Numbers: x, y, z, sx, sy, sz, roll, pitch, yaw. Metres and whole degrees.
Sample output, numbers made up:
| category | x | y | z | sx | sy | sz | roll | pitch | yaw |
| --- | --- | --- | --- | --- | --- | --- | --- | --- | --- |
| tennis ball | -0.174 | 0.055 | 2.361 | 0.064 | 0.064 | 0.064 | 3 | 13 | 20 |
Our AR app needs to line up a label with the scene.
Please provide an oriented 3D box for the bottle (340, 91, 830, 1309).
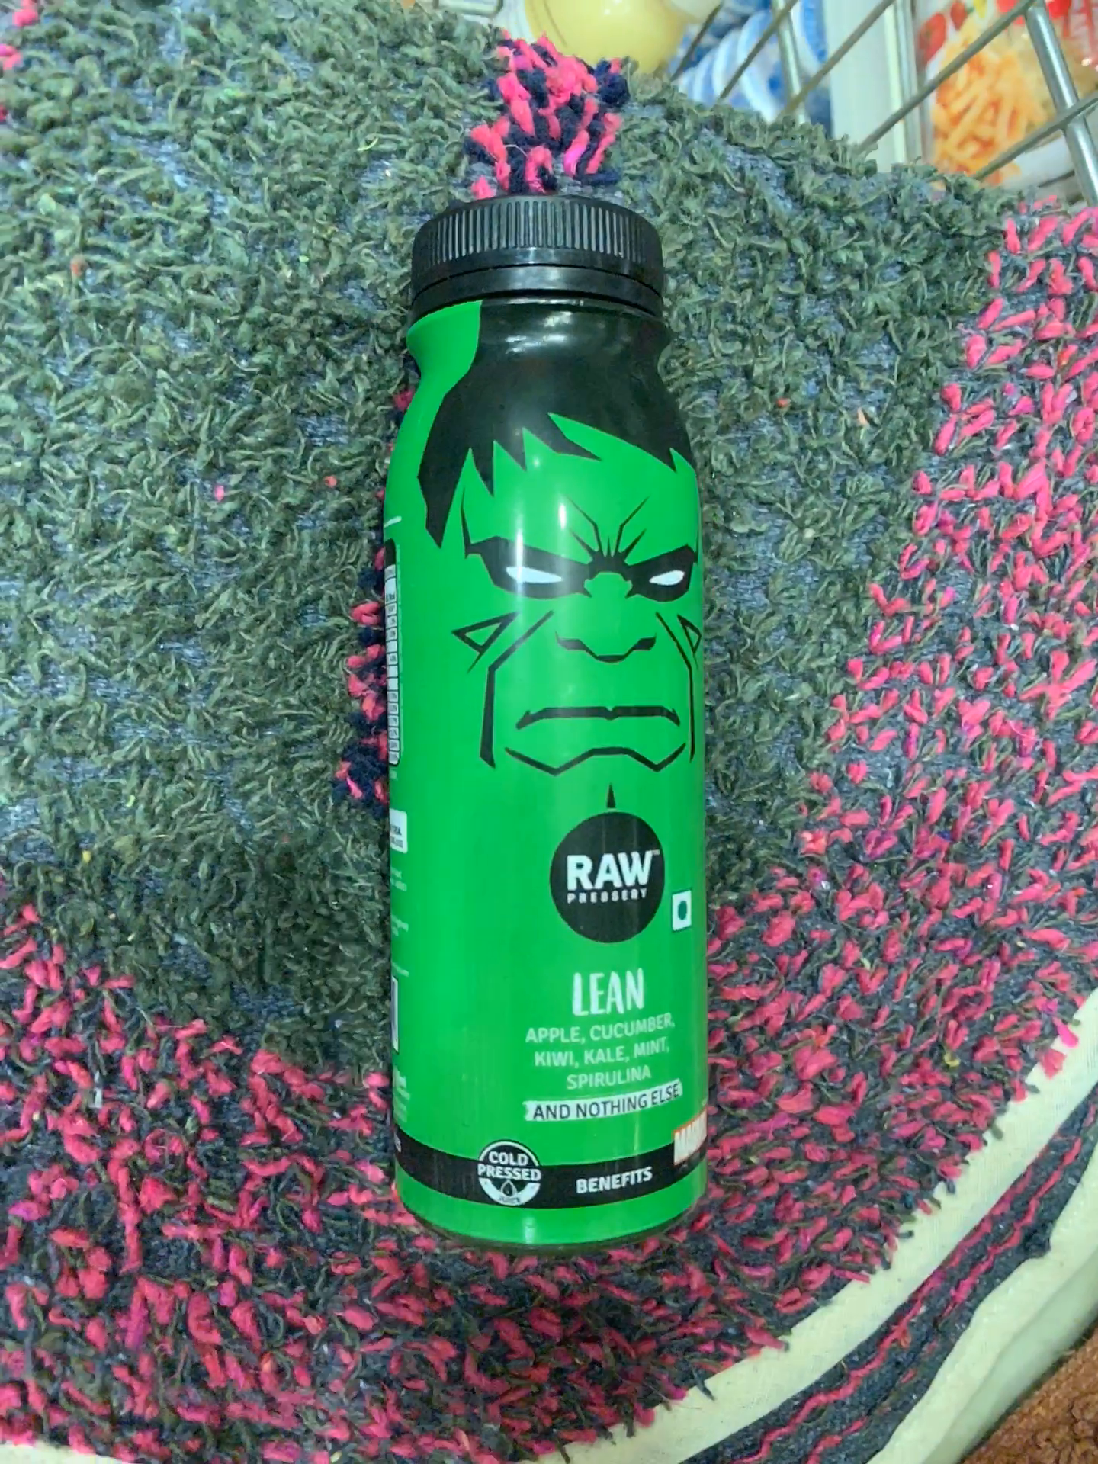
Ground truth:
| category | x | y | z | sx | sy | sz | roll | pitch | yaw |
| --- | --- | --- | --- | --- | --- | --- | --- | --- | --- |
| bottle | 0.002 | -0.005 | 0.182 | 0.060 | 0.050 | 0.160 | -2 | 90 | -16 |
